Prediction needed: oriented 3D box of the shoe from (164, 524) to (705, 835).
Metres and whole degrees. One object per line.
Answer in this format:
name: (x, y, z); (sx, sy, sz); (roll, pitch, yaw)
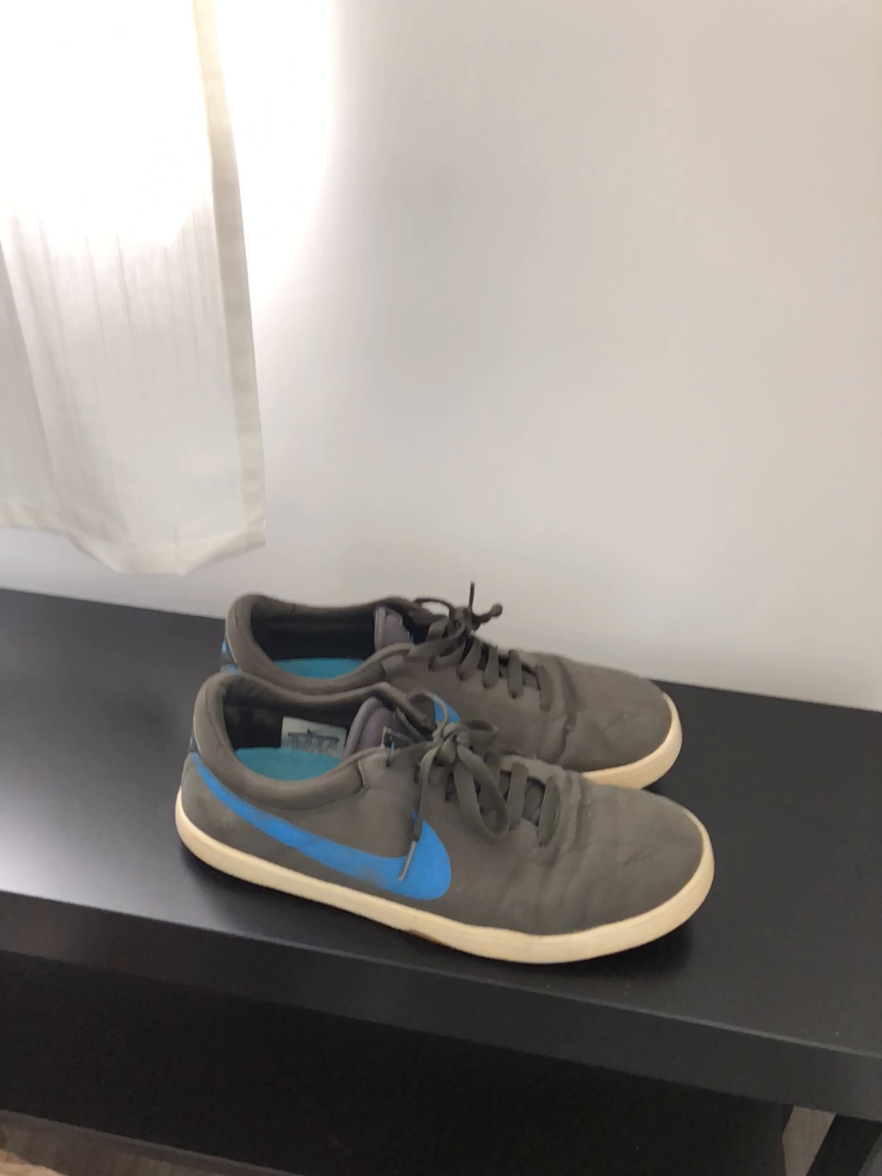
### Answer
shoe: (-0.003, 0.049, 0.566); (0.280, 0.110, 0.100); (6, 32, 6)

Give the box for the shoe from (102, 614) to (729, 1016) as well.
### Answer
shoe: (-0.010, 0.108, 0.491); (0.280, 0.110, 0.100); (9, 32, 9)
